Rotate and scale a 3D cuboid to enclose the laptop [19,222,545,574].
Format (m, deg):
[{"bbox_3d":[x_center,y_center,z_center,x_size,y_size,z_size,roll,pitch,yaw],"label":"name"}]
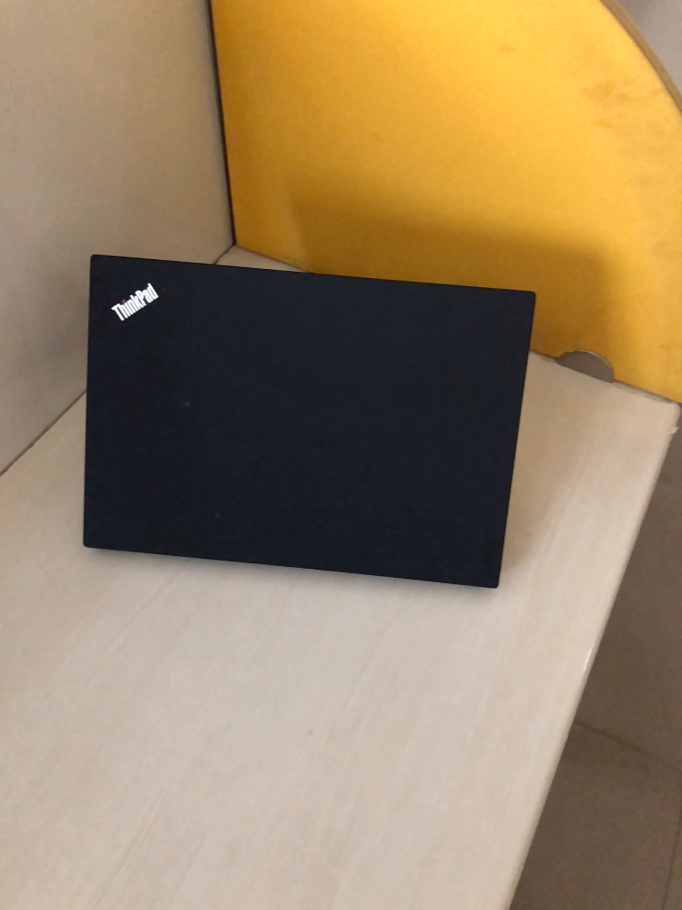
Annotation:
[{"bbox_3d":[-0.037,-0.054,0.643,0.349,0.166,0.241,5,49,2],"label":"laptop"}]
